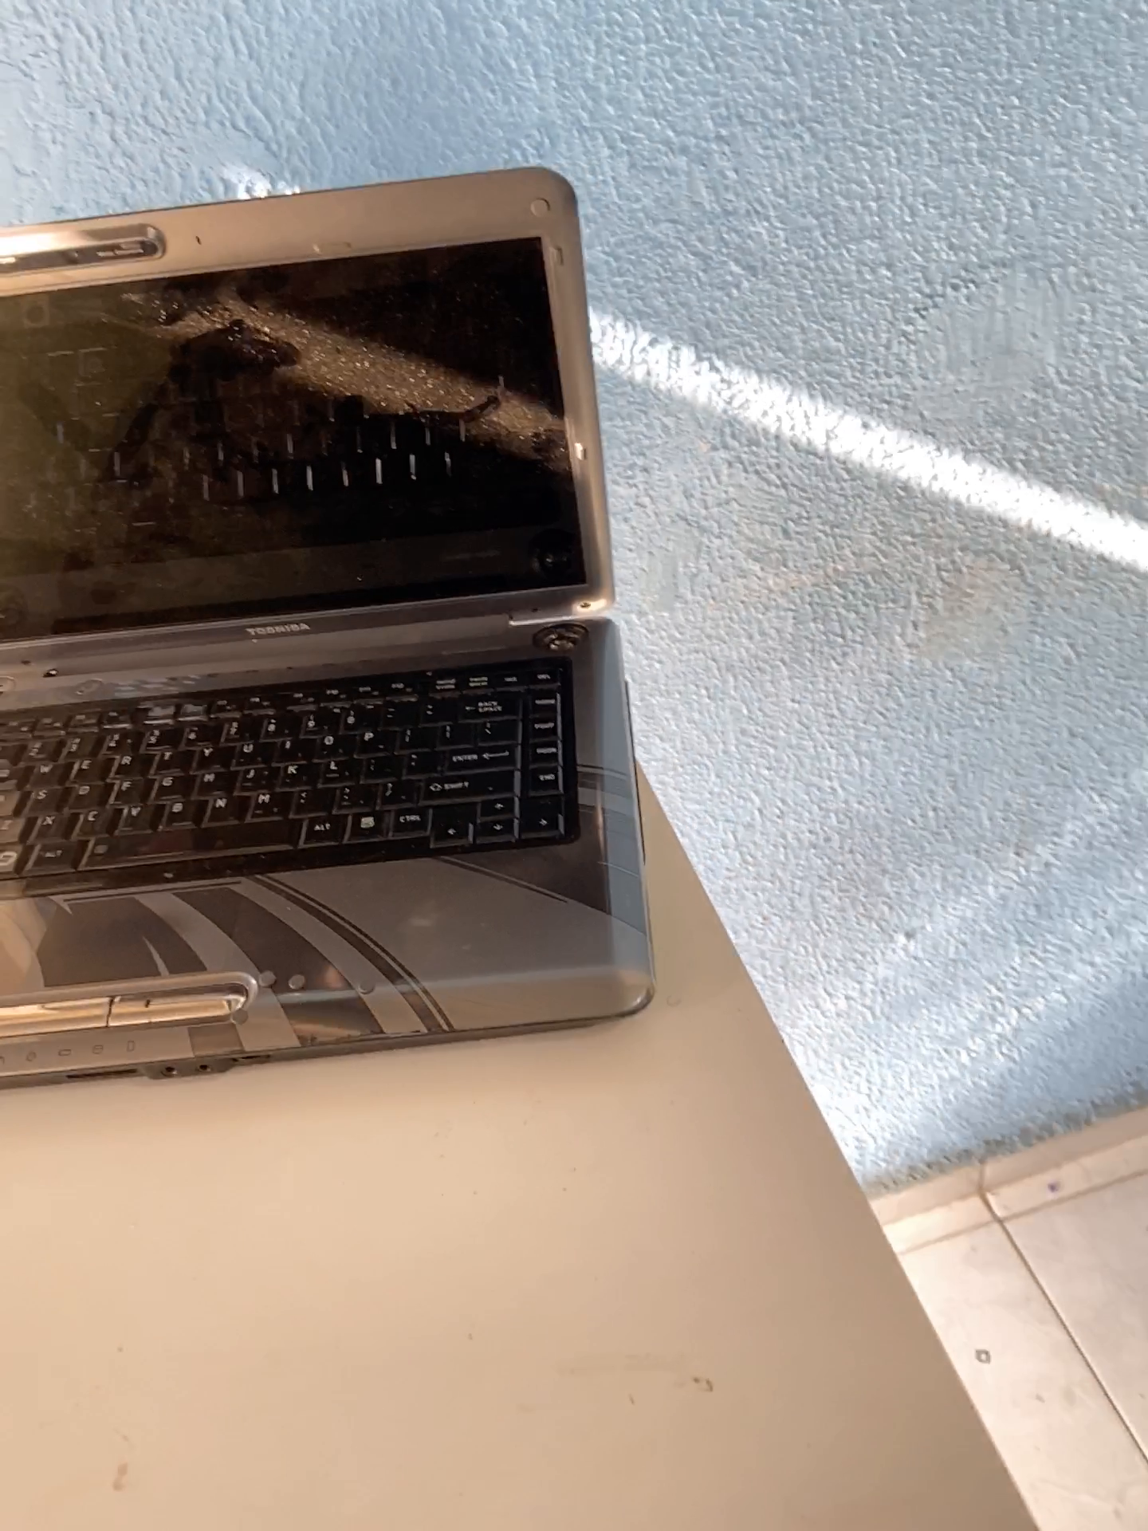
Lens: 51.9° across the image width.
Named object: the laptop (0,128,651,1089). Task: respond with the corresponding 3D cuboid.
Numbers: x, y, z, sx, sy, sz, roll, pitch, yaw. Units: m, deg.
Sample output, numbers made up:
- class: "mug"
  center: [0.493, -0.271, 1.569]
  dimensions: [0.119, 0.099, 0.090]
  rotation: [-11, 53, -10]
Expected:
- class: "laptop"
  center: [-0.167, -0.071, 0.461]
  dimensions: [0.358, 0.235, 0.260]
  rotation: [-6, 38, 2]
